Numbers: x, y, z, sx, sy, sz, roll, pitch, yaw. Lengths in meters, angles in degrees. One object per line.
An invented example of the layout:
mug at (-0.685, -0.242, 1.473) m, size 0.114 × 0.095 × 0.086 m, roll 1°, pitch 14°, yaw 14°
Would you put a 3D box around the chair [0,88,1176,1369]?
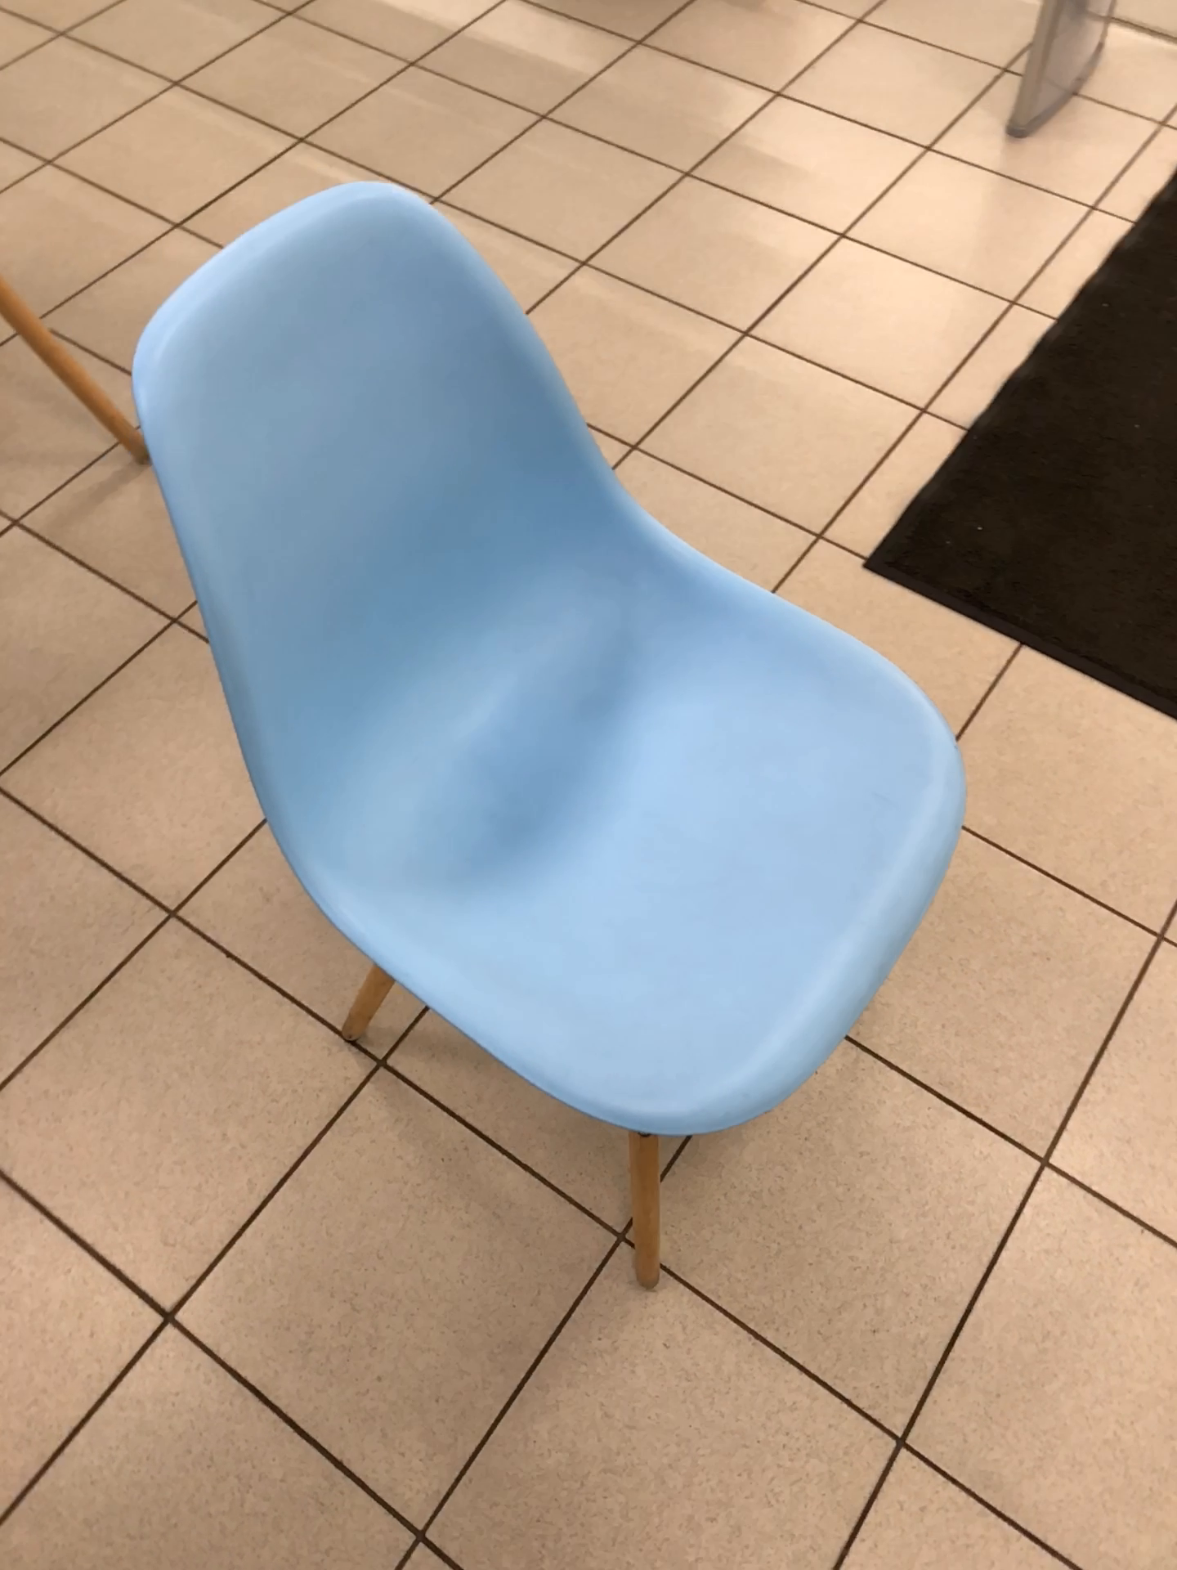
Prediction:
chair at (-0.011, 0.018, 1.040) m, size 0.571 × 0.777 × 0.471 m, roll 31°, pitch 62°, yaw 19°
